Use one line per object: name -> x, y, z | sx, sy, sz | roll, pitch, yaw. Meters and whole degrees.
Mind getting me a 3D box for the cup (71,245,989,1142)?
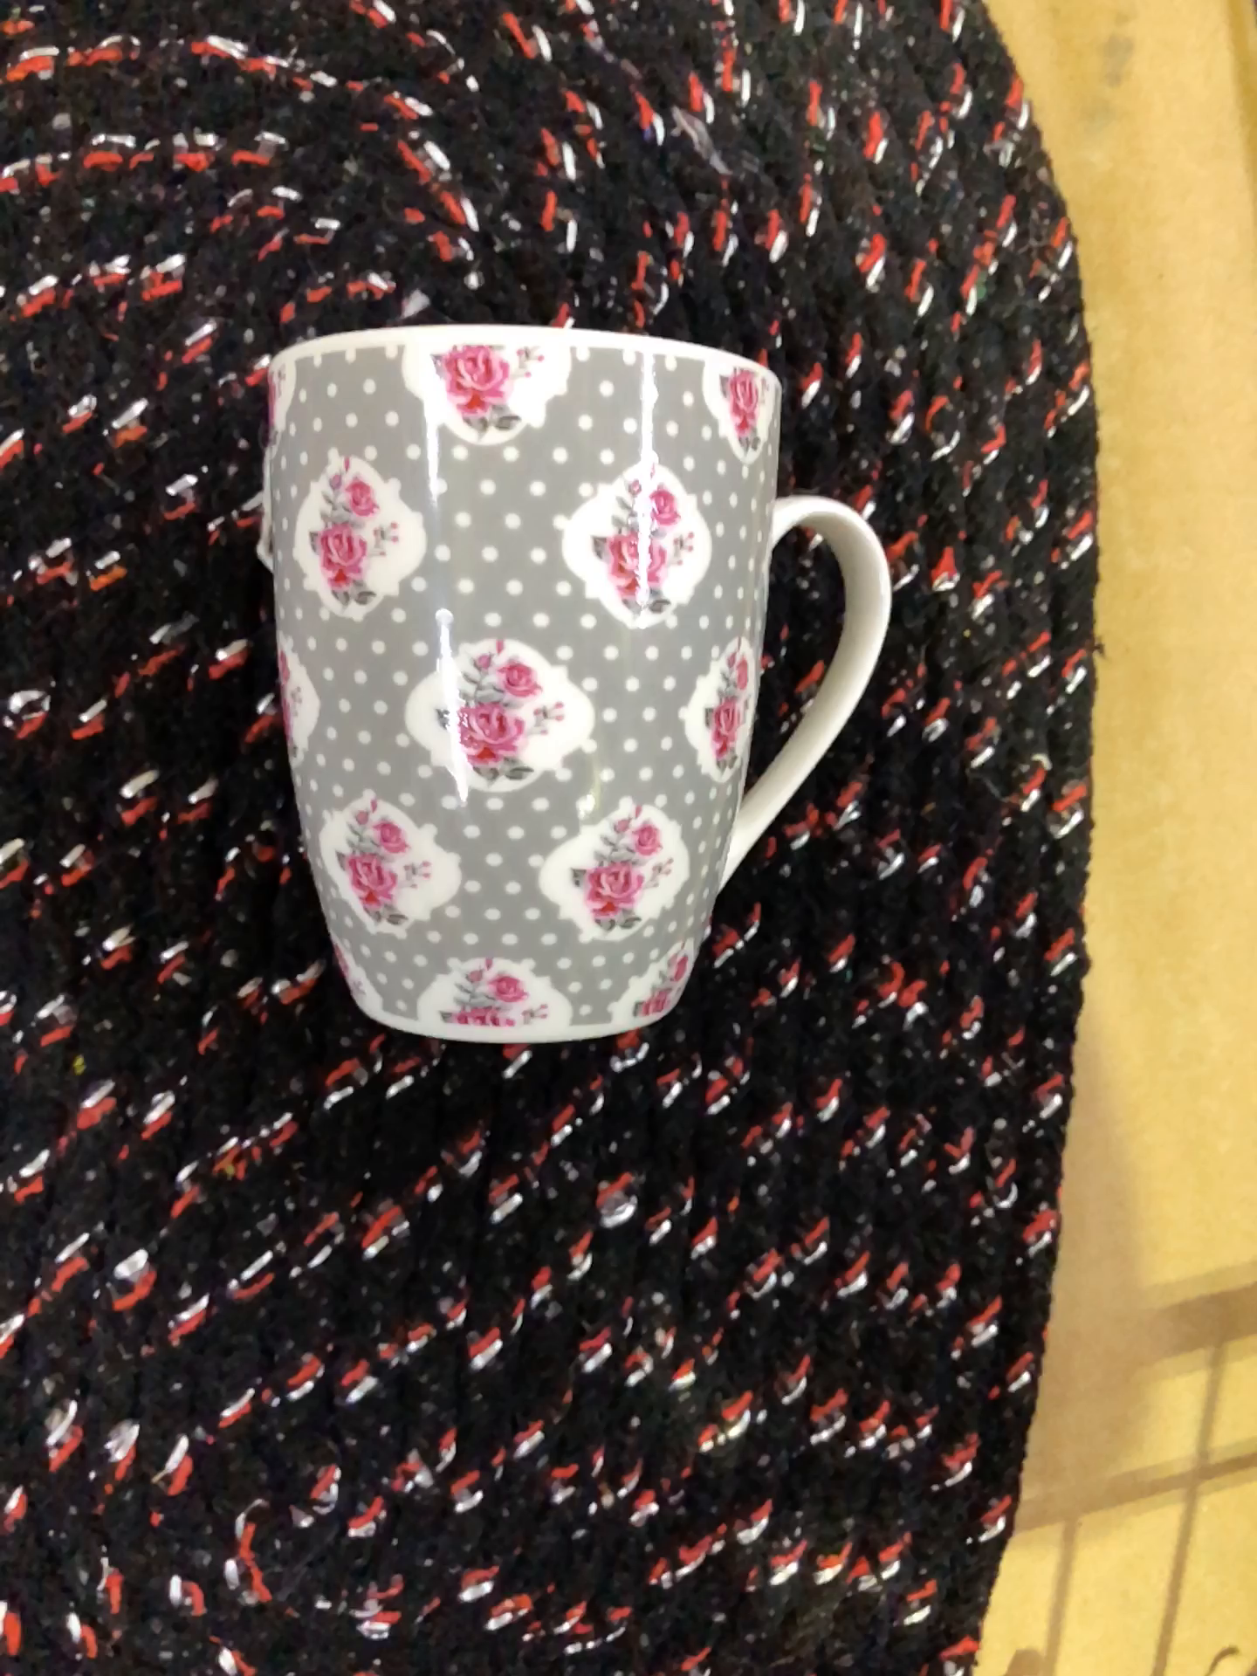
cup -> -0.015, -0.026, 0.225 | 0.110, 0.090, 0.100 | -8, 102, -35
